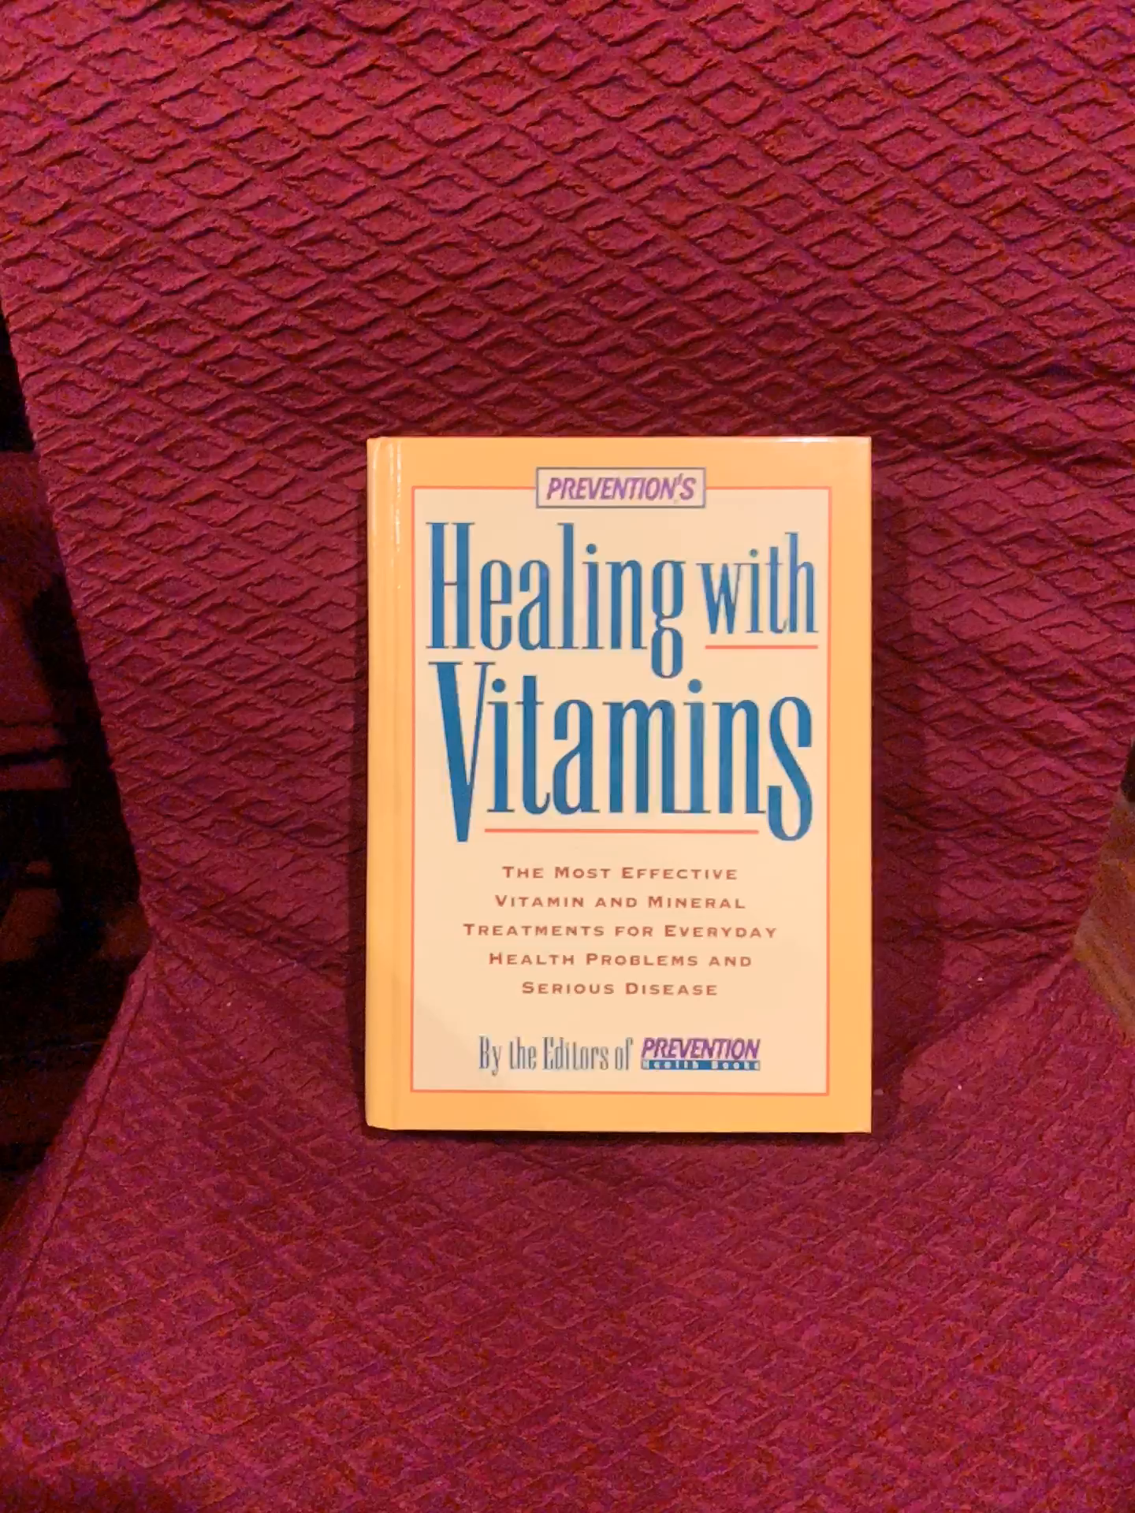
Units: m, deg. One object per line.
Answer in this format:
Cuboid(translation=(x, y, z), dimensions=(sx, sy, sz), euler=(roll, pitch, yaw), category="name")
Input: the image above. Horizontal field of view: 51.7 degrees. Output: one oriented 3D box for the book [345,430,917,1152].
Cuboid(translation=(0.021, 0.012, 0.411), dimensions=(0.190, 0.240, 0.040), euler=(0, 1, 1), category="book")
